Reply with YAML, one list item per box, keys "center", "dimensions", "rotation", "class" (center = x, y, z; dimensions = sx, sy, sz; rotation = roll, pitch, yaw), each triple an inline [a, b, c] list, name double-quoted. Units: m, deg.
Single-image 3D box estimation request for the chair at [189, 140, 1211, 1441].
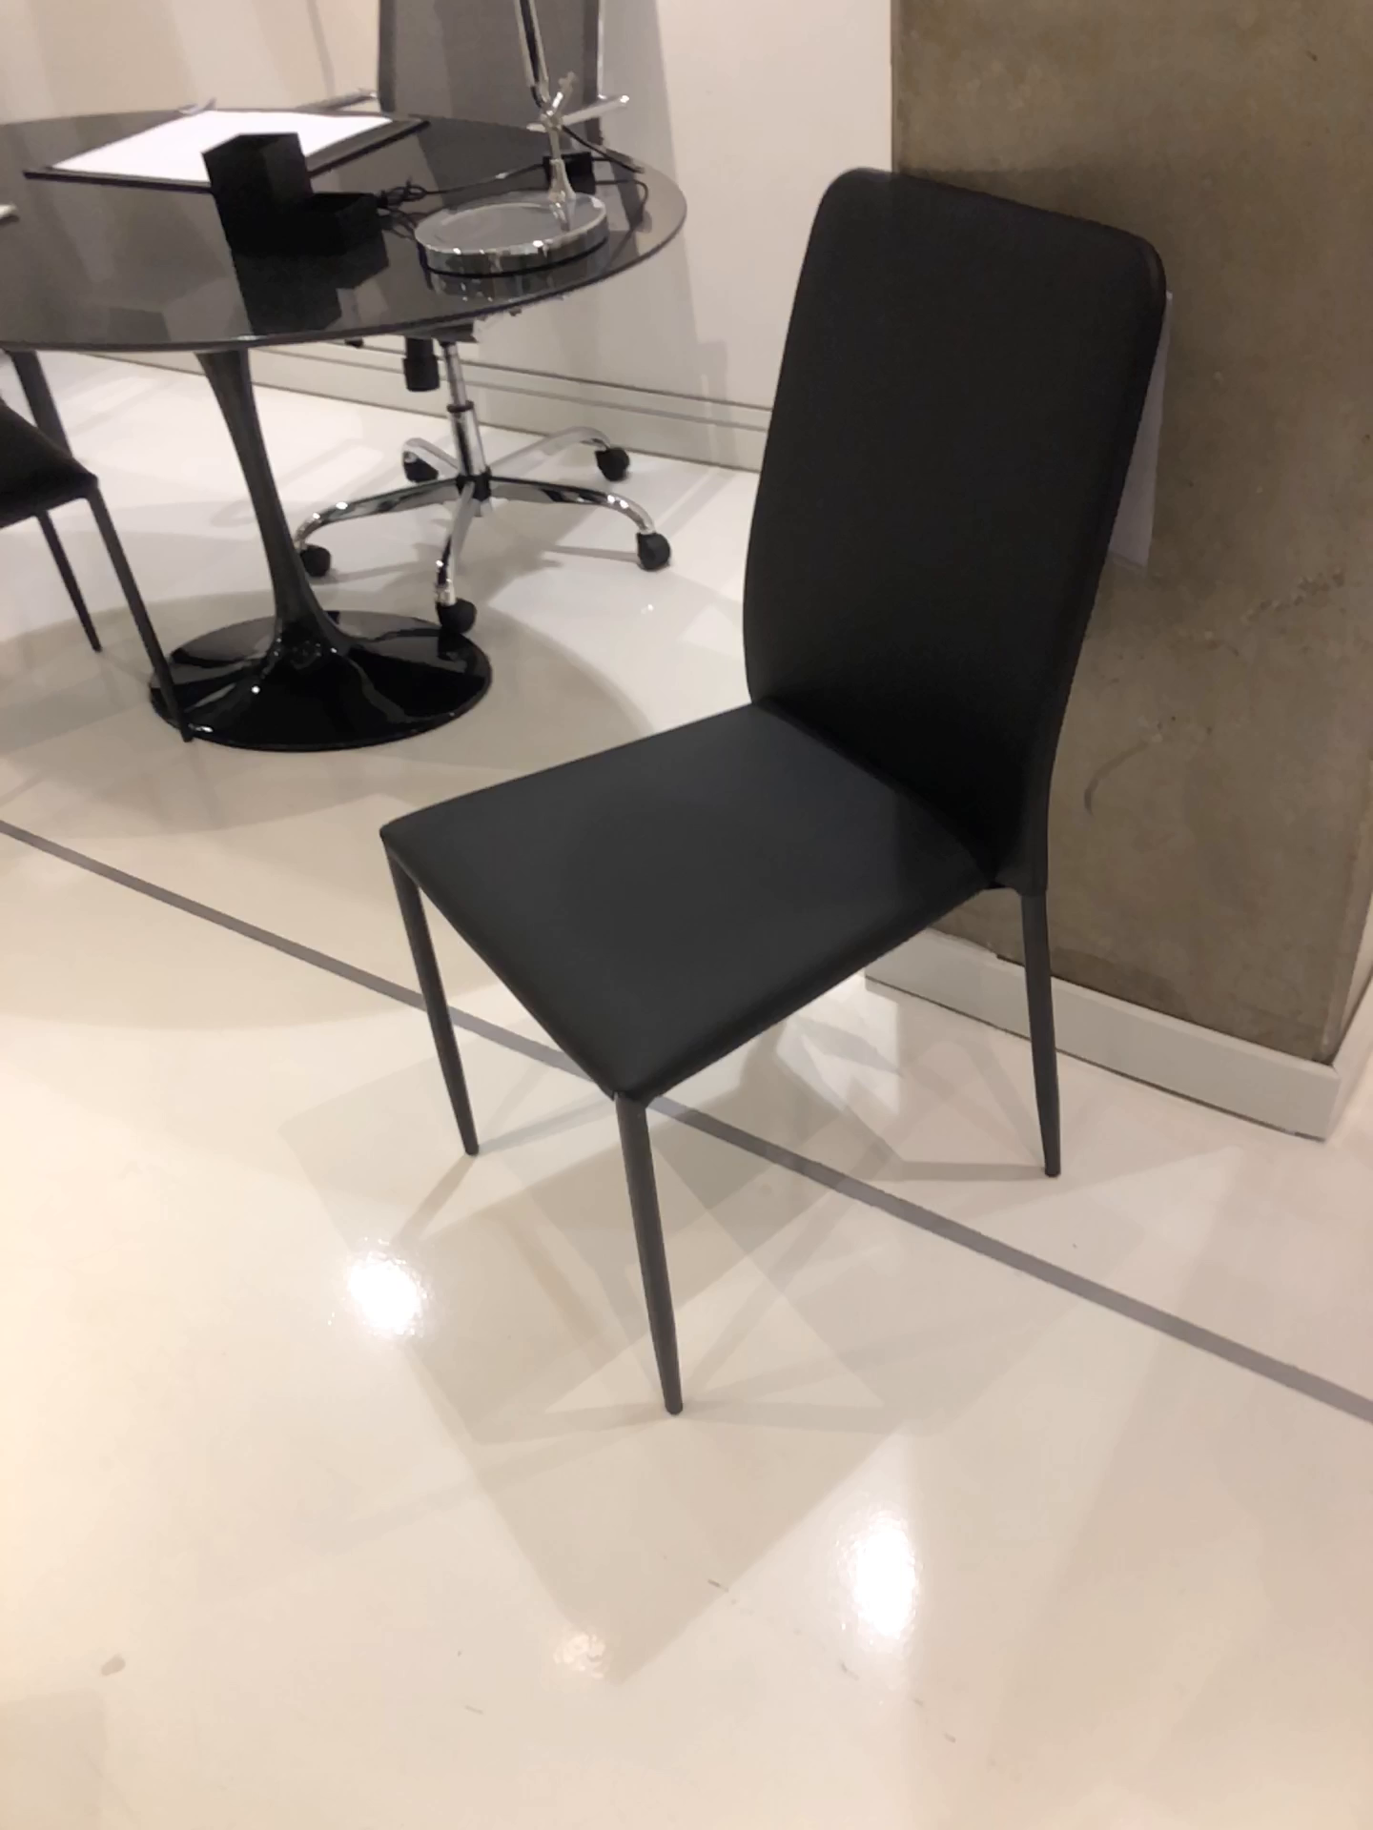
- center: [0.029, -0.102, 1.316]
  dimensions: [0.541, 0.883, 0.473]
  rotation: [-25, 42, -21]
  class: "chair"
